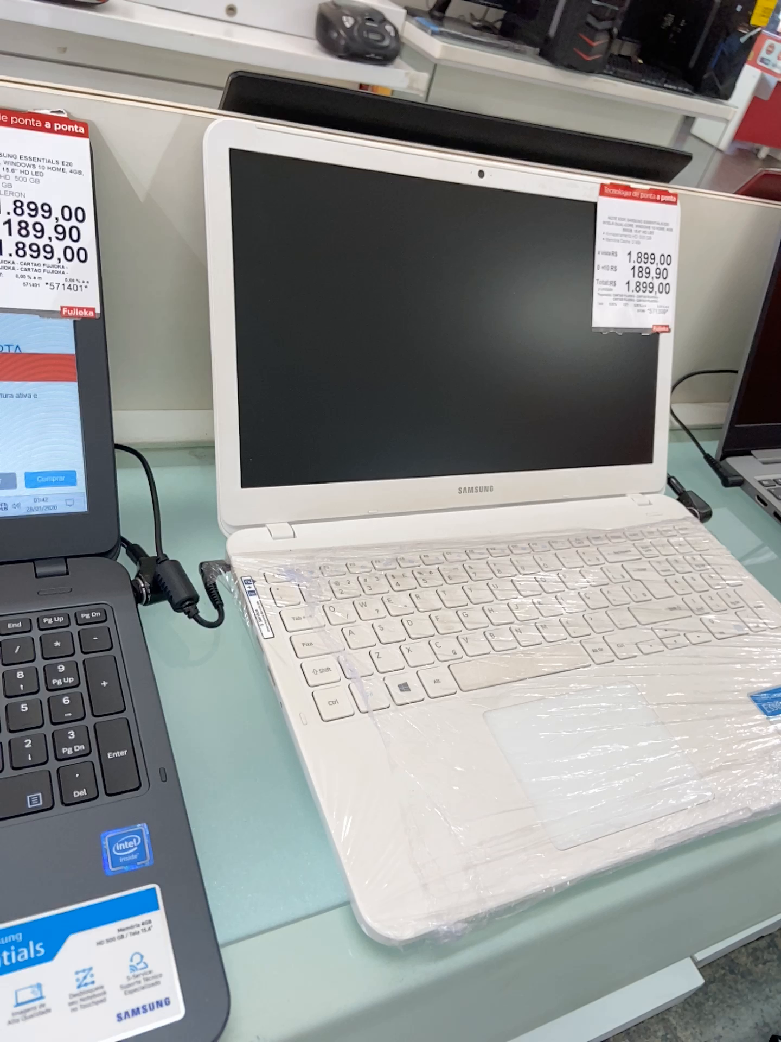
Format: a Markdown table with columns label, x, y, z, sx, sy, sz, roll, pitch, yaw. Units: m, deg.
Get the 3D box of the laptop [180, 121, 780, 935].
| label | x | y | z | sx | sy | sz | roll | pitch | yaw |
| --- | --- | --- | --- | --- | --- | --- | --- | --- | --- |
| laptop | 0.110 | -0.043 | 0.485 | 0.376 | 0.192 | 0.382 | -4 | 44 | -28 |
